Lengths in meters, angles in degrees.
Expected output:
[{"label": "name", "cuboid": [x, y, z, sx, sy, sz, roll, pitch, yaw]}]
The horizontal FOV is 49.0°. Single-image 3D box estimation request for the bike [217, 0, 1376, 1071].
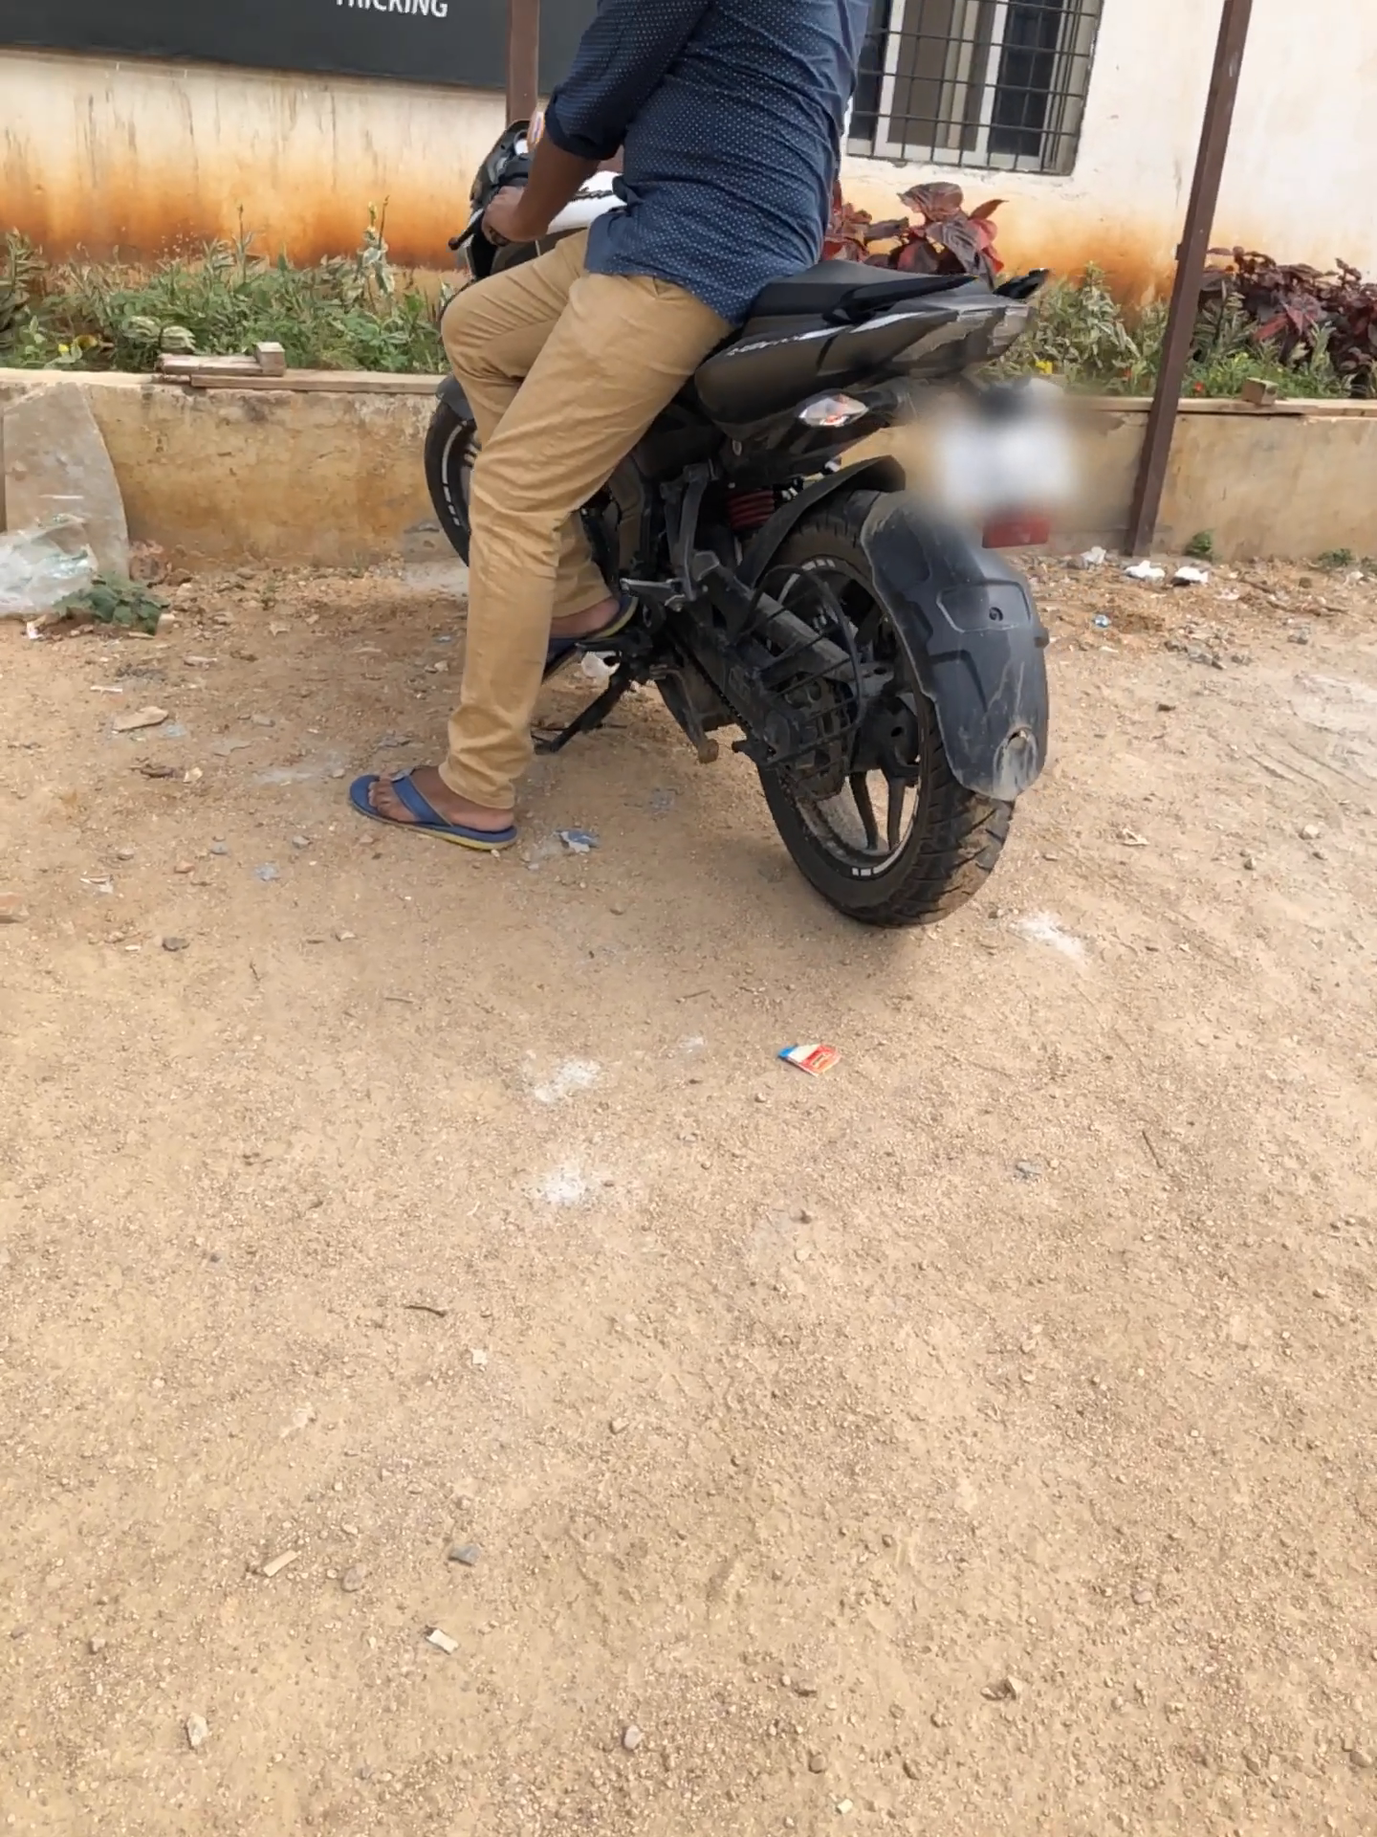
[{"label": "bike", "cuboid": [-0.050, -0.825, 2.442, 0.782, 1.122, 1.853, -12, 34, -30]}]
